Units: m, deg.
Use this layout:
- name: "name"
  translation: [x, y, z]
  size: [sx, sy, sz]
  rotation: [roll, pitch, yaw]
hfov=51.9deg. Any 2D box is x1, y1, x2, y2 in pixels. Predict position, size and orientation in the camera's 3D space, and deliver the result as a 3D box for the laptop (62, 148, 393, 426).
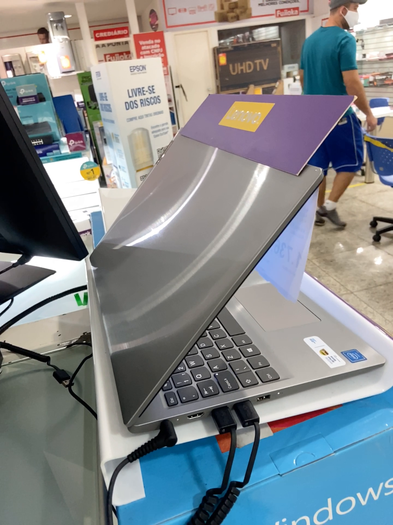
- name: "laptop"
  translation: [-0.003, -0.027, 0.467]
  size: [0.243, 0.162, 0.358]
  rotation: [-10, 23, -16]
